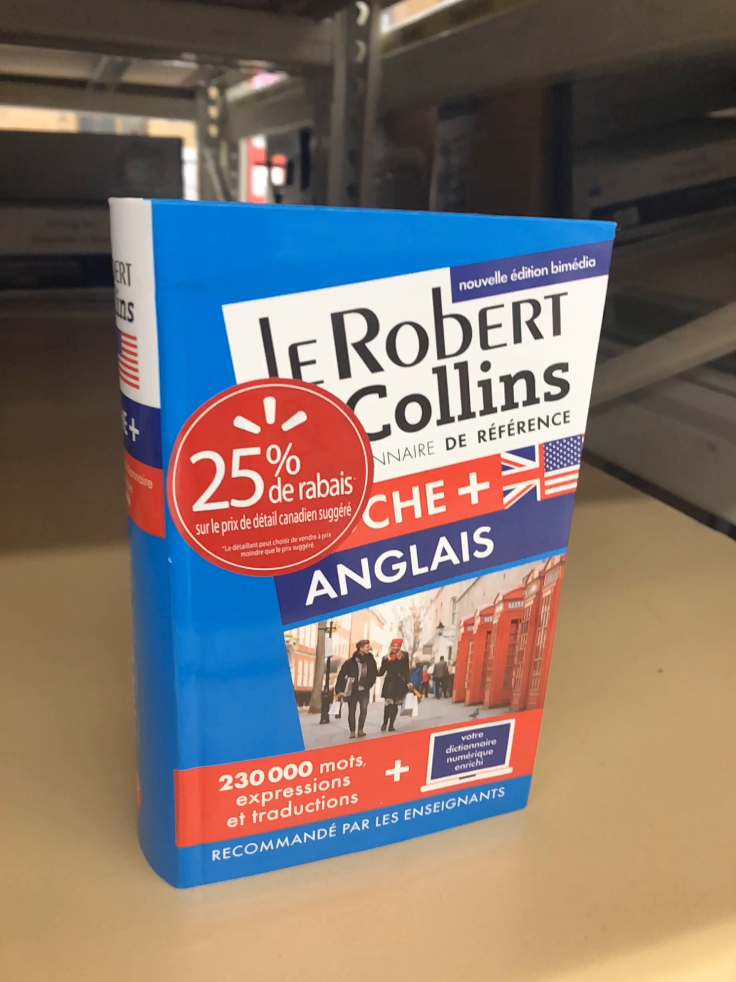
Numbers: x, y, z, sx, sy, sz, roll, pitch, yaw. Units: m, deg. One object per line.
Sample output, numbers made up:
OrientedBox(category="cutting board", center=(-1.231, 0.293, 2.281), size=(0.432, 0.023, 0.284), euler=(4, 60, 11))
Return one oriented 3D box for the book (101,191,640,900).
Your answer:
OrientedBox(category="book", center=(-0.006, 0.012, 0.232), size=(0.121, 0.173, 0.059), euler=(-4, 21, -20))
